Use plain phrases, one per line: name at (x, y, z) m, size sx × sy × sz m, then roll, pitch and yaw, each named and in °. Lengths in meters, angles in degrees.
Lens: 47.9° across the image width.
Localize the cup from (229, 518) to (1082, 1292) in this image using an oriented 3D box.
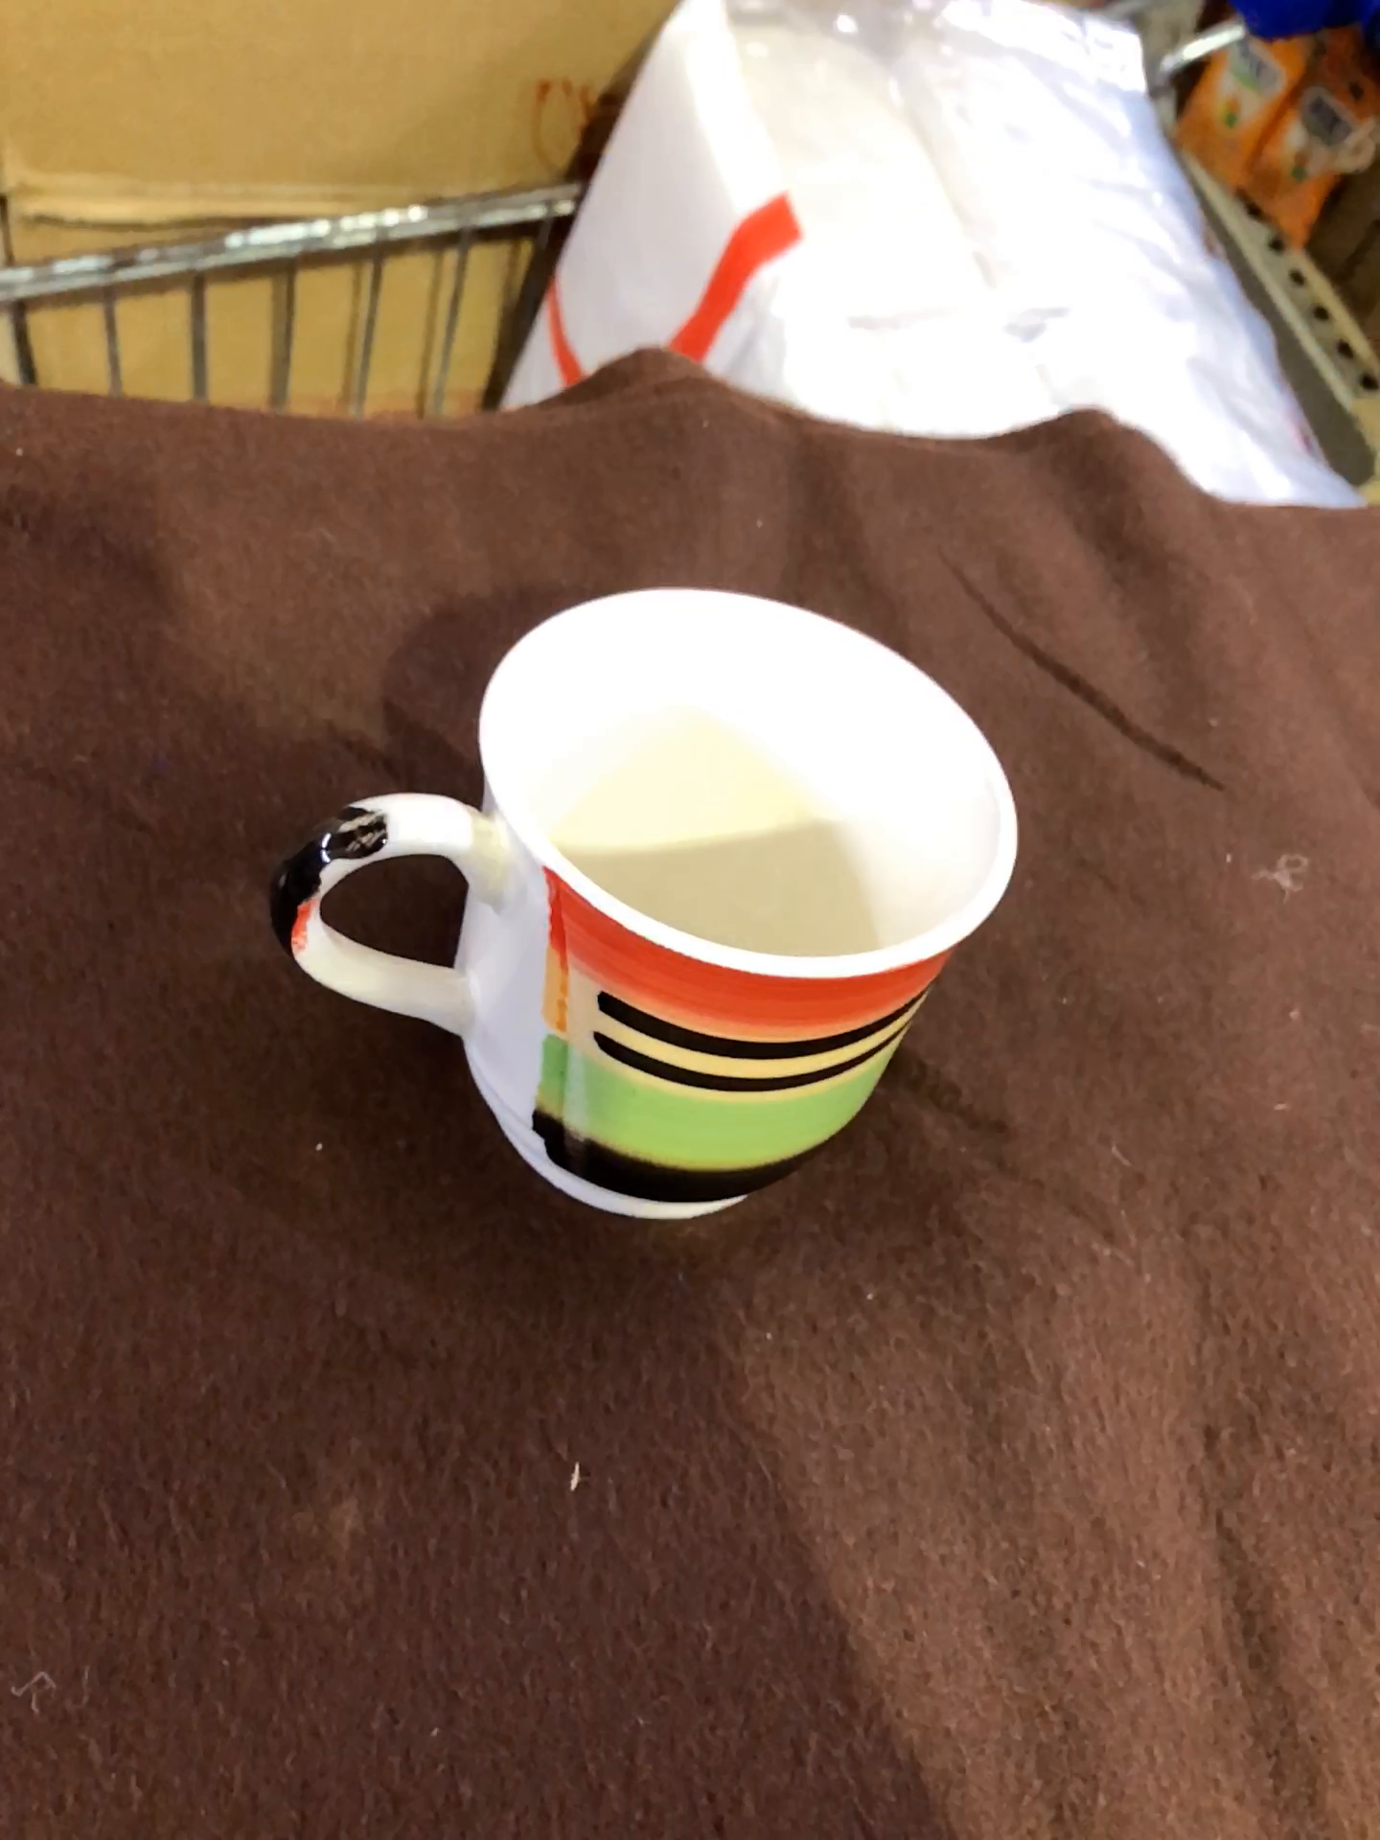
cup at (-0.012, -0.003, 0.209) m, size 0.090 × 0.070 × 0.070 m, roll -3°, pitch 50°, yaw -14°
